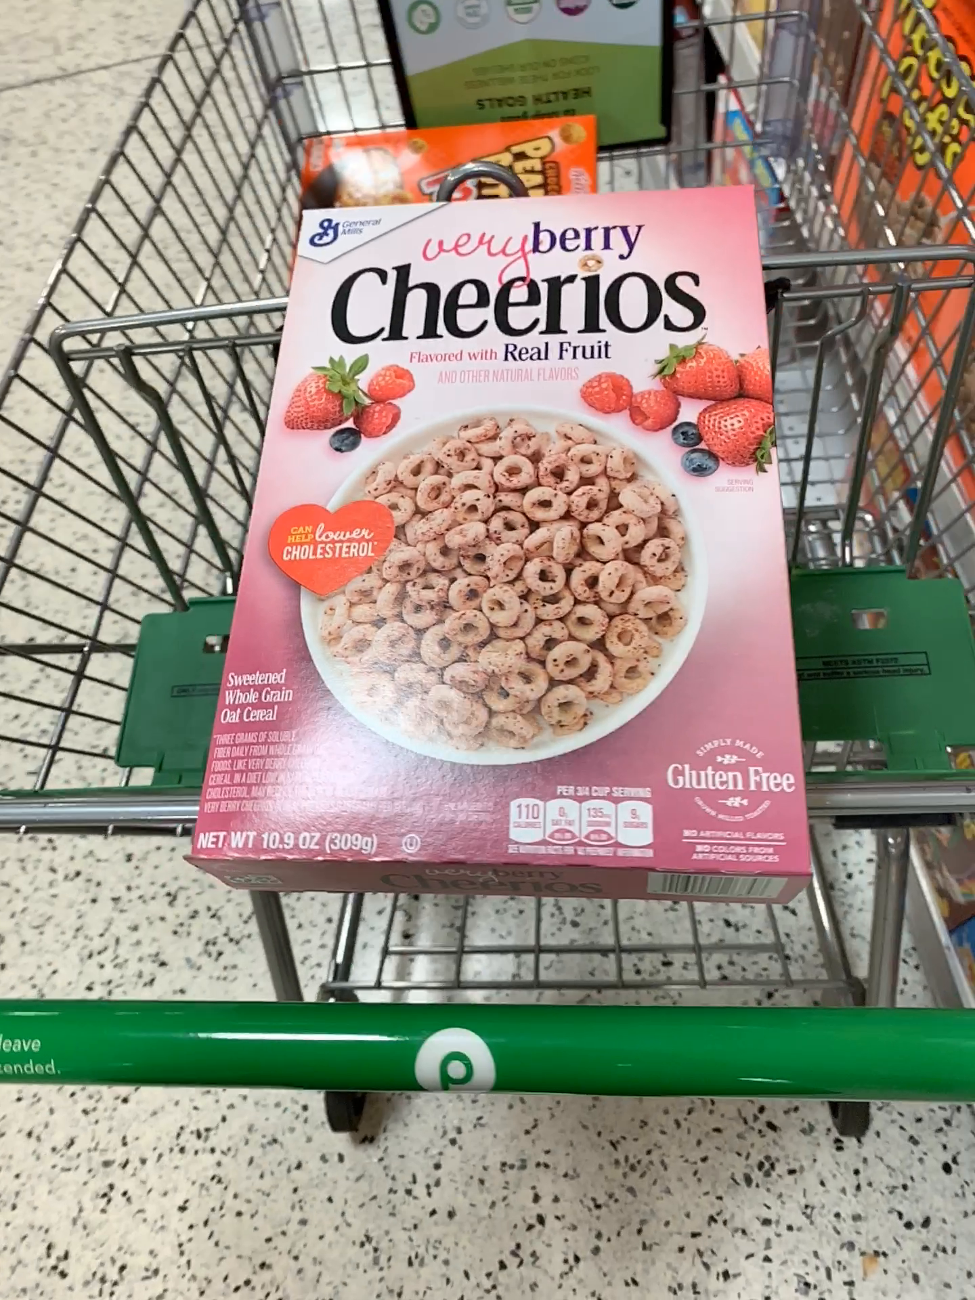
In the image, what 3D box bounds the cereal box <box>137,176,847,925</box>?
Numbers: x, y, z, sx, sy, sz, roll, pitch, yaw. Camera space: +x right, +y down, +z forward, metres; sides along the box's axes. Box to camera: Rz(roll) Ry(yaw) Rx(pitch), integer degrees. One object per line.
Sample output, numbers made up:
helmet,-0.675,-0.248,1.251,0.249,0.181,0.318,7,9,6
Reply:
cereal box,0.008,-0.048,0.382,0.210,0.060,0.282,0,65,8
